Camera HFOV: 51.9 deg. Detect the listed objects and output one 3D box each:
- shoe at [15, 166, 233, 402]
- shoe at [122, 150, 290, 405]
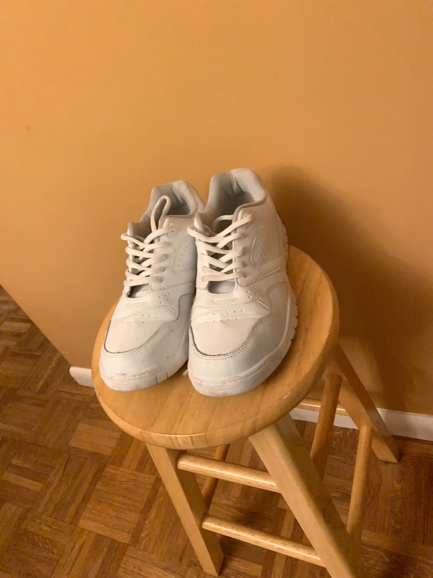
[{"bbox_3d":[-0.086,-0.017,0.532,0.130,0.109,0.271,-3,44,23],"label":"shoe"},{"bbox_3d":[0.010,-0.024,0.491,0.120,0.109,0.271,-8,43,18],"label":"shoe"}]
